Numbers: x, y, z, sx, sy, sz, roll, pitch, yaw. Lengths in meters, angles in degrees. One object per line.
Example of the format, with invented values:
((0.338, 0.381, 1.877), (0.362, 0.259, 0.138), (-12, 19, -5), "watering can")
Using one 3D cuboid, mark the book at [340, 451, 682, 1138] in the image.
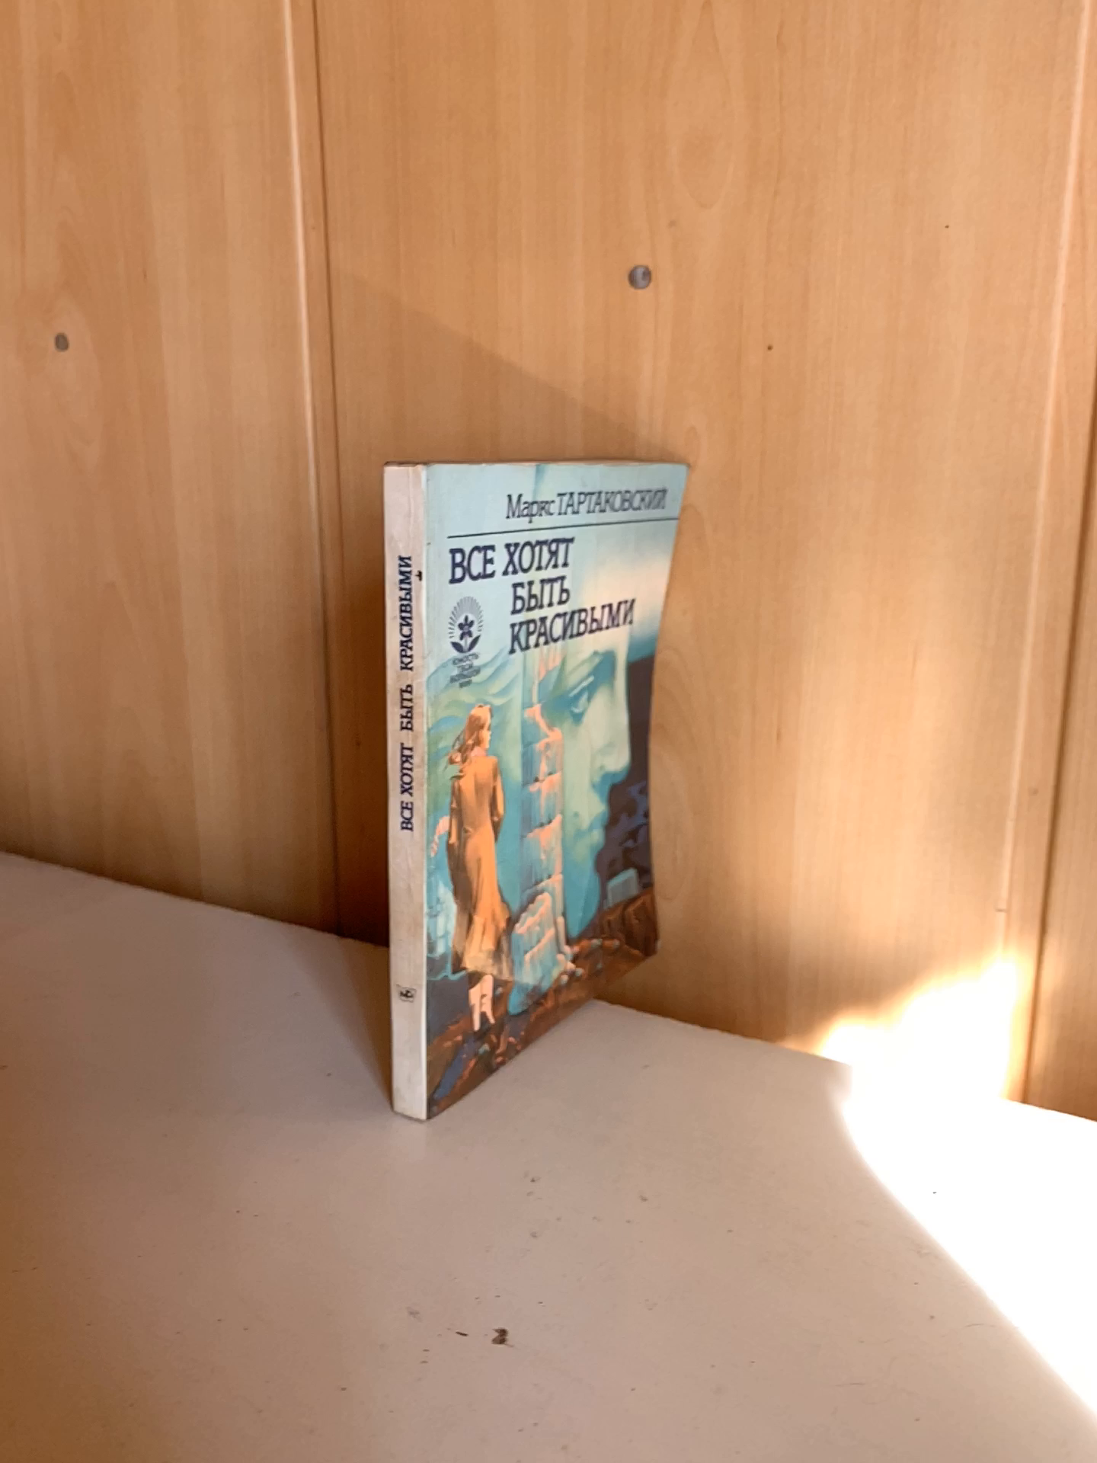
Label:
((-0.004, 0.005, 0.316), (0.029, 0.159, 0.125), (8, 15, 28), "book")
